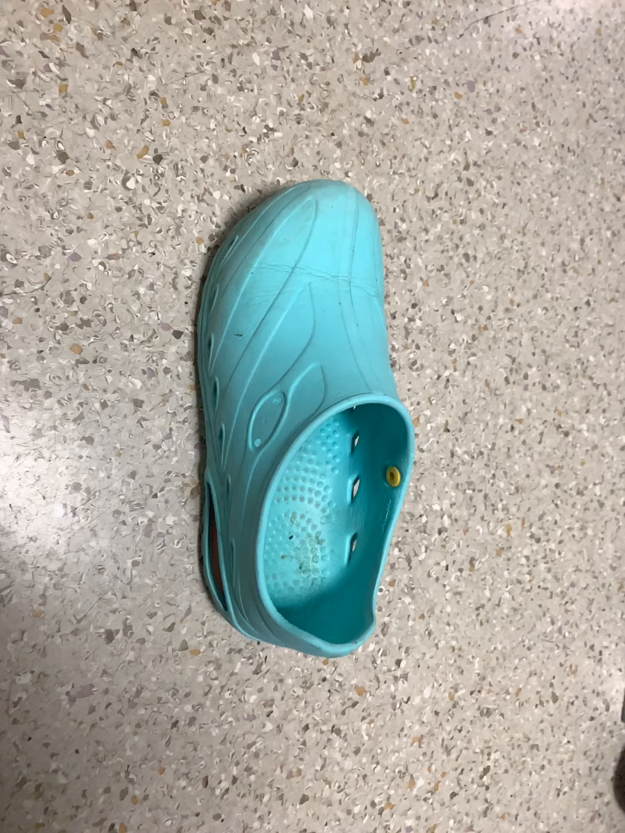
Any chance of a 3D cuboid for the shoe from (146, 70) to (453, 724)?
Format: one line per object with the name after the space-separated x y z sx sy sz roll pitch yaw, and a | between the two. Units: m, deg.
-0.010 -0.007 0.342 0.106 0.105 0.275 5 88 -30 | shoe
